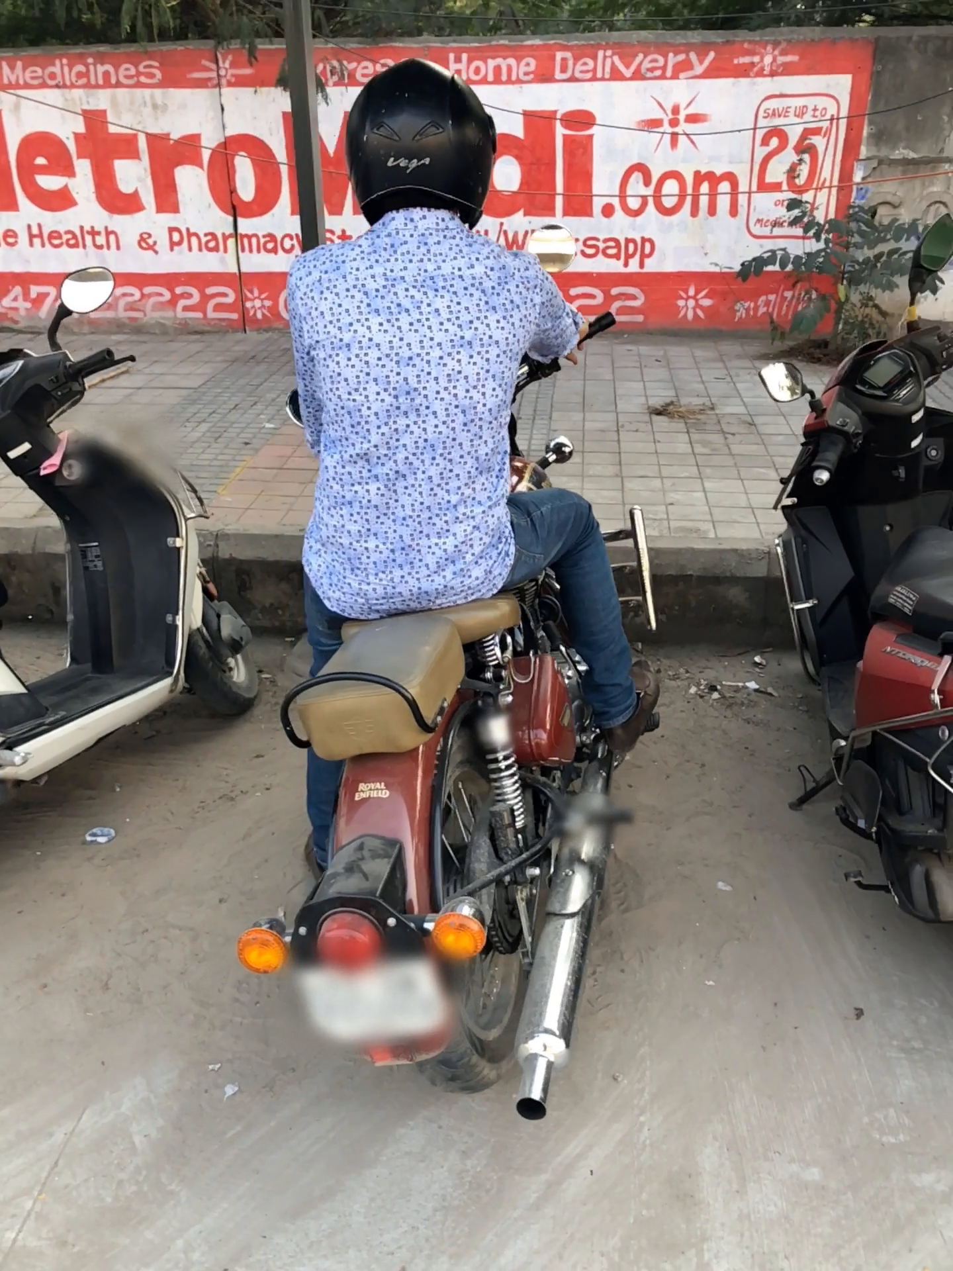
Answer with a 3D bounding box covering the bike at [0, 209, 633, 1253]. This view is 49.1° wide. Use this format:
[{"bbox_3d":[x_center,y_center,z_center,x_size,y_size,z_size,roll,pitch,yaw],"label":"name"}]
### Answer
[{"bbox_3d":[-0.112,-0.021,2.158,0.793,1.256,1.558,3,31,8],"label":"bike"}]
